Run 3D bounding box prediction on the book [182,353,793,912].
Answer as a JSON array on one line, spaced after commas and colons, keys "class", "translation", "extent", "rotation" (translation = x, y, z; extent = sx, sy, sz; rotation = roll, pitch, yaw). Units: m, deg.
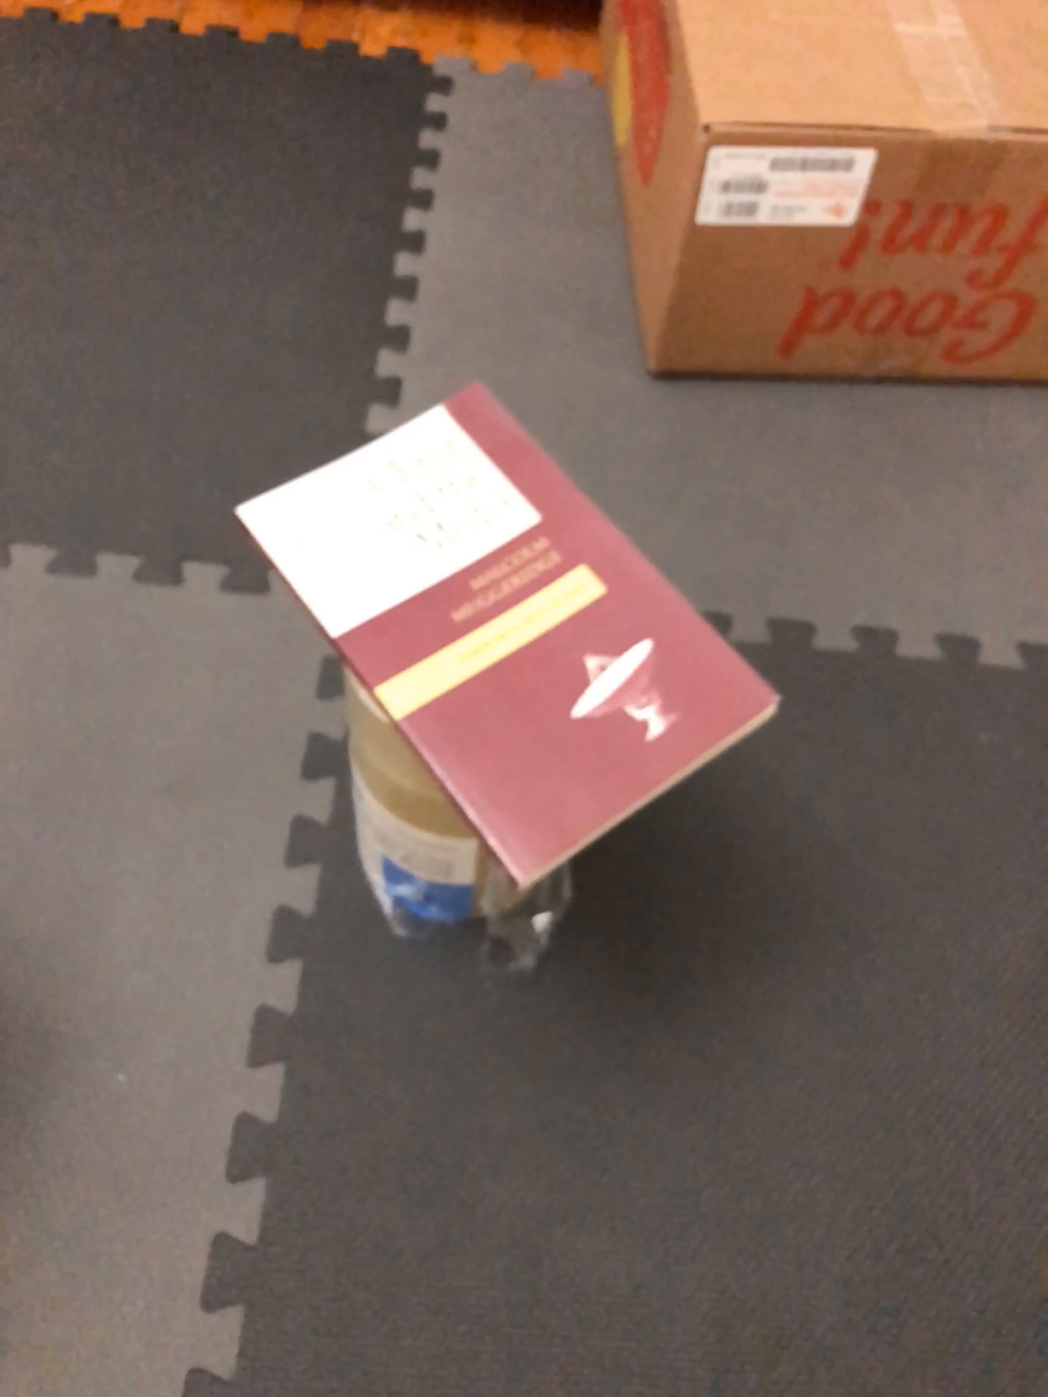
[{"class": "book", "translation": [-0.018, -0.039, 0.466], "extent": [0.140, 0.020, 0.210], "rotation": [-33, 68, -22]}]
